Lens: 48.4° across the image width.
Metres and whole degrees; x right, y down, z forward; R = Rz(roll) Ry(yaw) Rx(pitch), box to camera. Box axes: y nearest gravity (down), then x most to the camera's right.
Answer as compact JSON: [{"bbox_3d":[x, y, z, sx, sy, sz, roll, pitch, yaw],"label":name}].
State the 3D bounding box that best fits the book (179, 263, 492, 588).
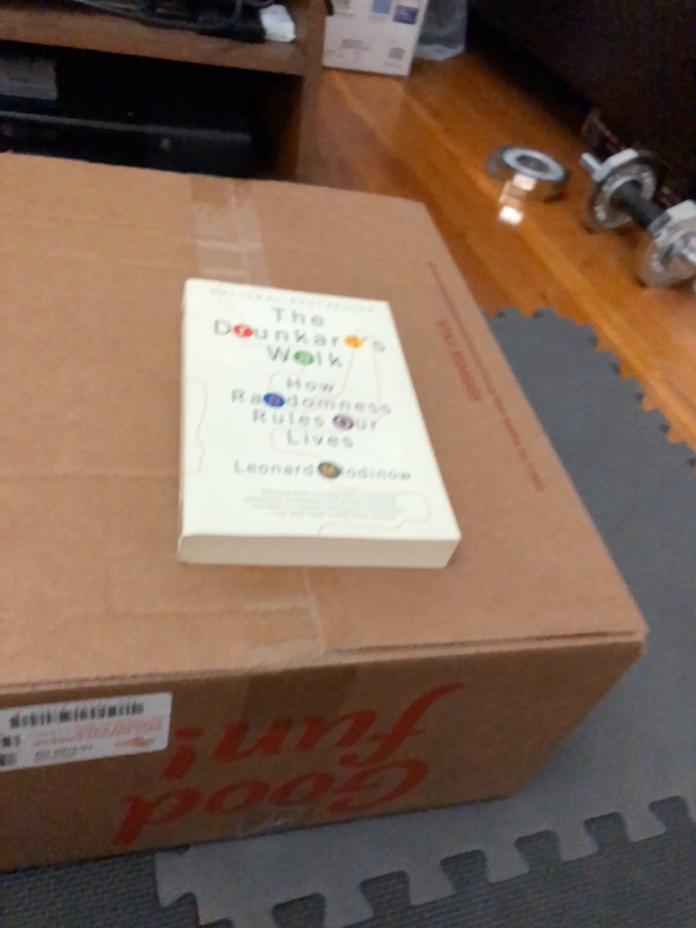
[{"bbox_3d":[-0.020,-0.030,0.429,0.140,0.040,0.211,3,45,-15],"label":"book"}]
